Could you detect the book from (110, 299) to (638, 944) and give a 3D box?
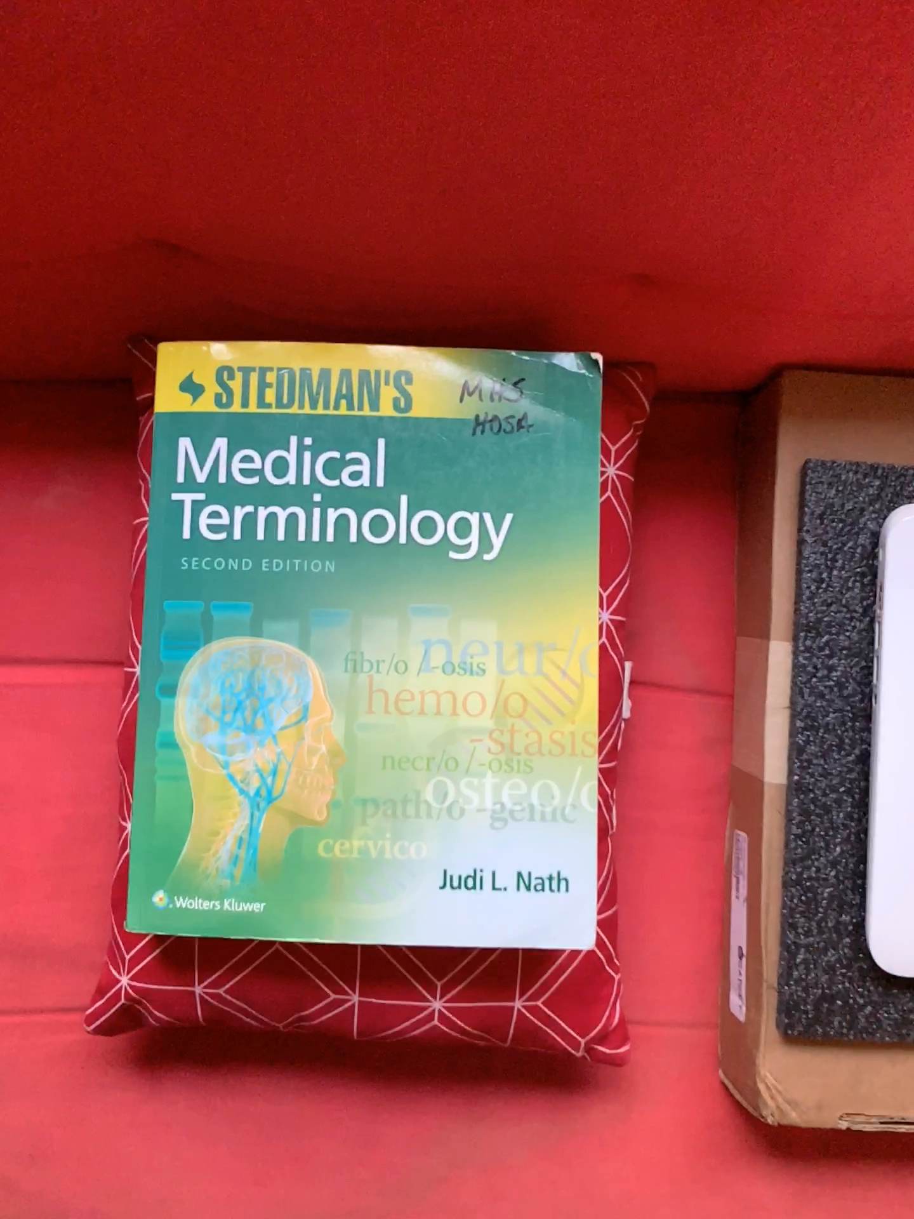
[{"bbox_3d":[-0.036,0.005,0.467,0.240,0.040,0.300,2,86,-2],"label":"book"}]
